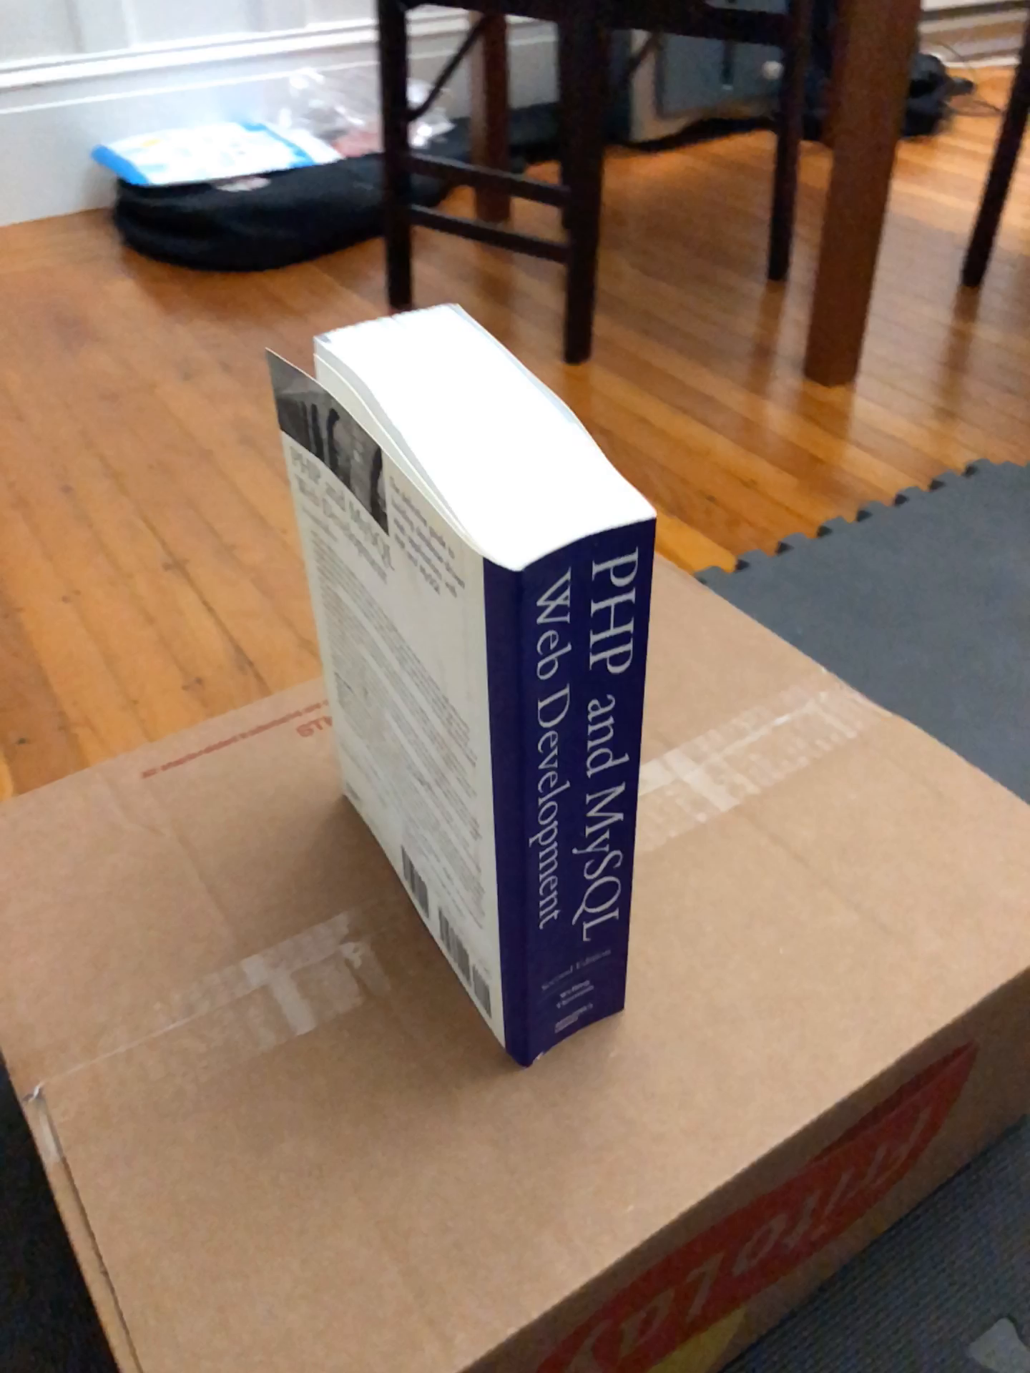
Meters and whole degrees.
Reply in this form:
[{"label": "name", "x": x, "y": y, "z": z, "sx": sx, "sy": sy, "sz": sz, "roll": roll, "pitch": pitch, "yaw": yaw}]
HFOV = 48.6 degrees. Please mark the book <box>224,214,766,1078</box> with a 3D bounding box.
[{"label": "book", "x": -0.020, "y": -0.019, "z": 0.446, "sx": 0.090, "sy": 0.258, "sz": 0.201, "roll": -18, "pitch": 41, "yaw": -23}]
